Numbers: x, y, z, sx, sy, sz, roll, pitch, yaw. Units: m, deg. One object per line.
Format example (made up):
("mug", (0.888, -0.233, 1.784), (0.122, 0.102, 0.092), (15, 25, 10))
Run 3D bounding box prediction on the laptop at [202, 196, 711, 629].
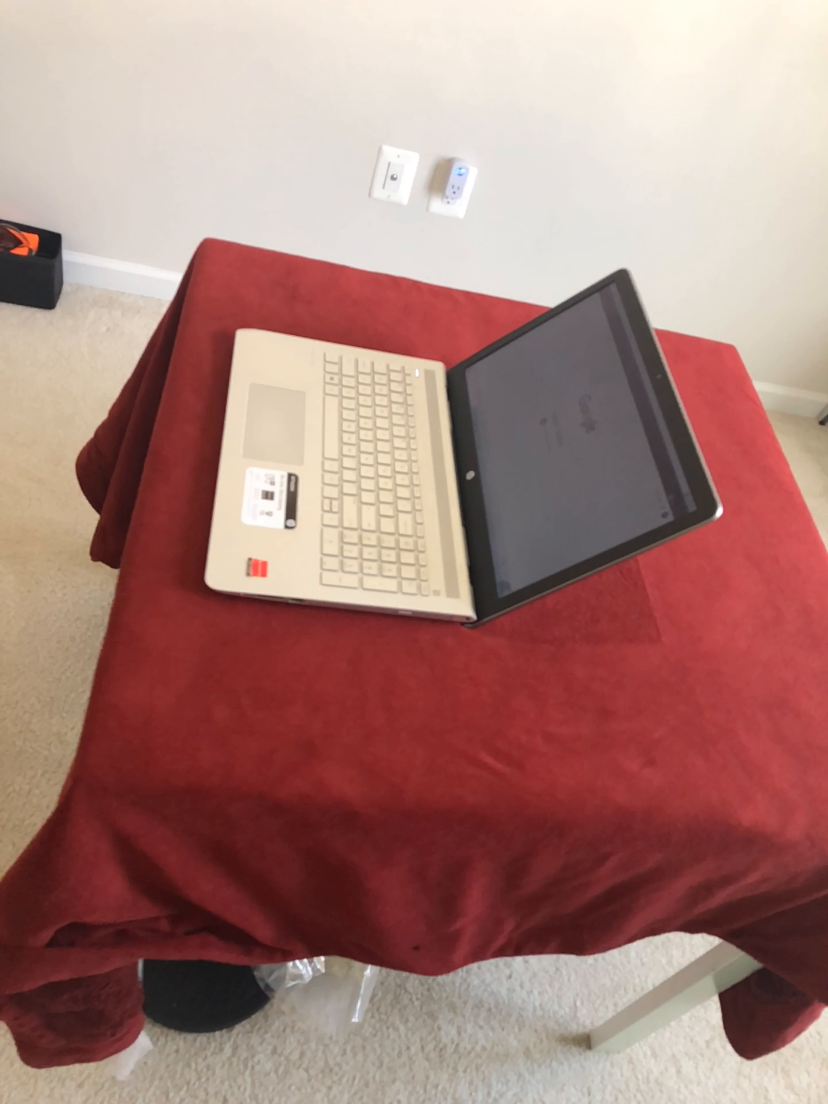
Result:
("laptop", (0.022, -0.140, 0.872), (0.395, 0.158, 0.361), (7, 48, -12))
